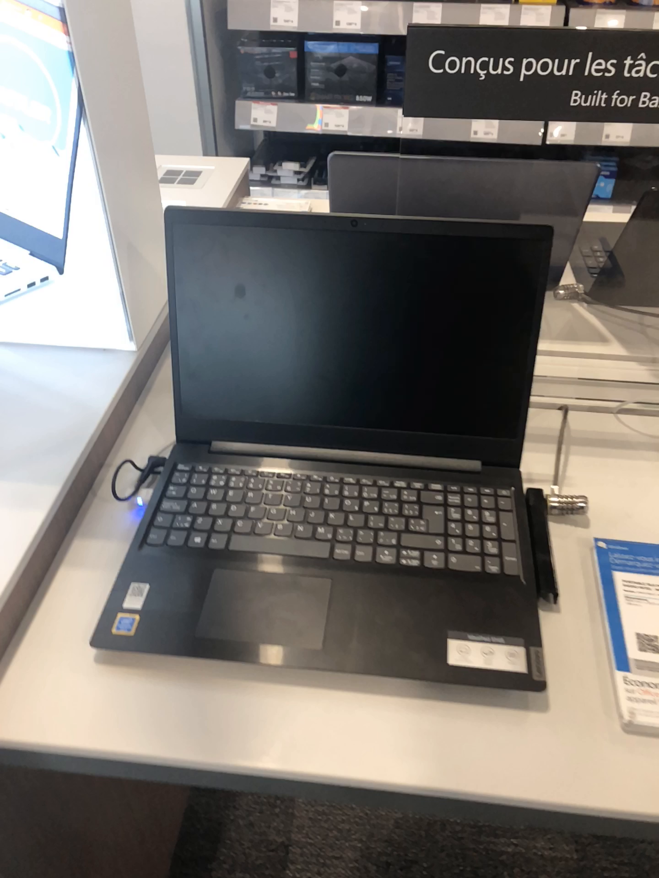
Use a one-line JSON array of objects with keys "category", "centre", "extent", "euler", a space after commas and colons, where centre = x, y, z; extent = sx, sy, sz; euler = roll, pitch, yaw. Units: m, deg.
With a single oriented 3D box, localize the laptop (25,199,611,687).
[{"category": "laptop", "centre": [0.005, -0.019, 0.608], "extent": [0.345, 0.213, 0.324], "euler": [4, 42, 5]}]
